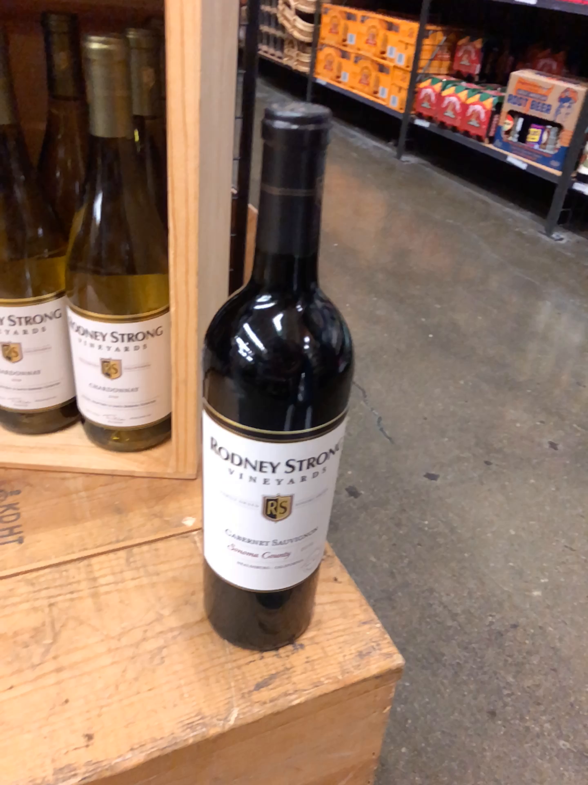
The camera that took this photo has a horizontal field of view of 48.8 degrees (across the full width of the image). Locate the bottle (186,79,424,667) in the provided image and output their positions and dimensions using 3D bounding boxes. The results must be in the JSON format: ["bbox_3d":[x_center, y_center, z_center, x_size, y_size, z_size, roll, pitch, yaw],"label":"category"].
[{"bbox_3d":[-0.011,0.016,0.337,0.080,0.309,0.070,4,33,-5],"label":"bottle"}]
